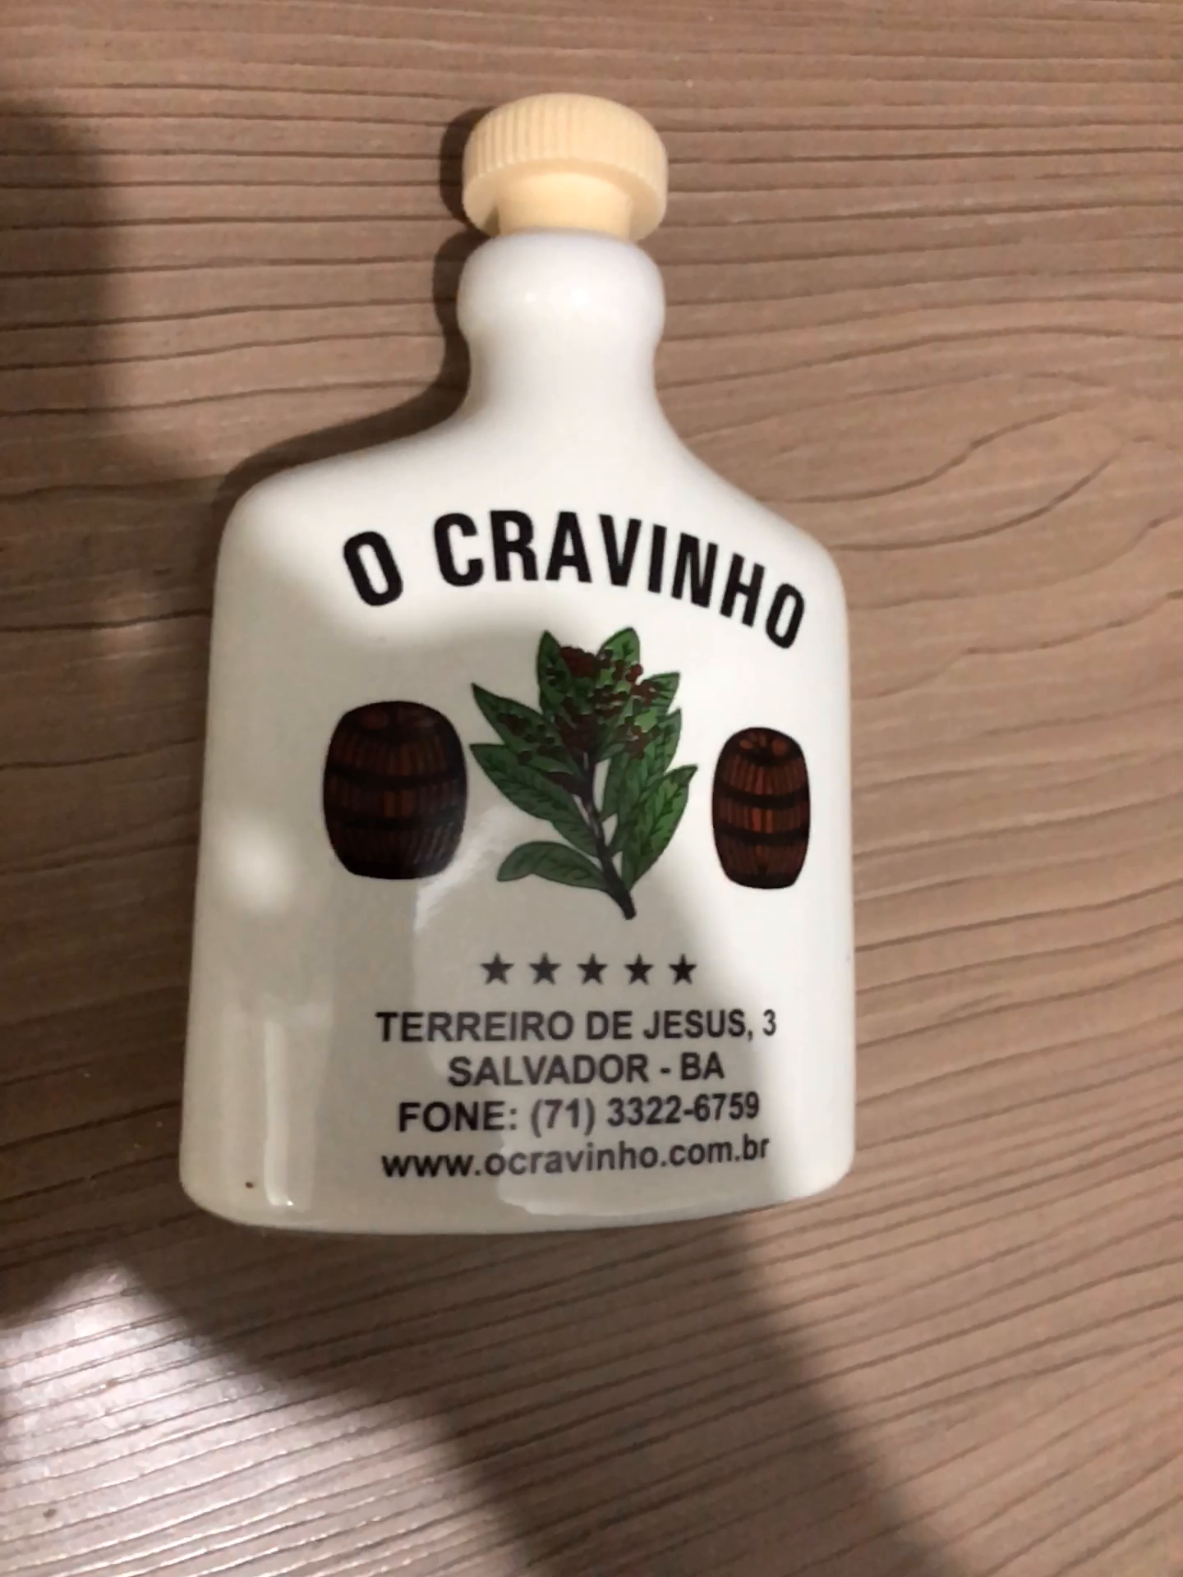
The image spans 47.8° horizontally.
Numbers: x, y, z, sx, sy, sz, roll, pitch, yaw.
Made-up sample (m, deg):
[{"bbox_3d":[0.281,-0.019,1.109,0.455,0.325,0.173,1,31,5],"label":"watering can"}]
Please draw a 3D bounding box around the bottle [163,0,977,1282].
[{"bbox_3d":[-0.003,-0.023,0.185,0.100,0.040,0.160,2,89,-20],"label":"bottle"}]
